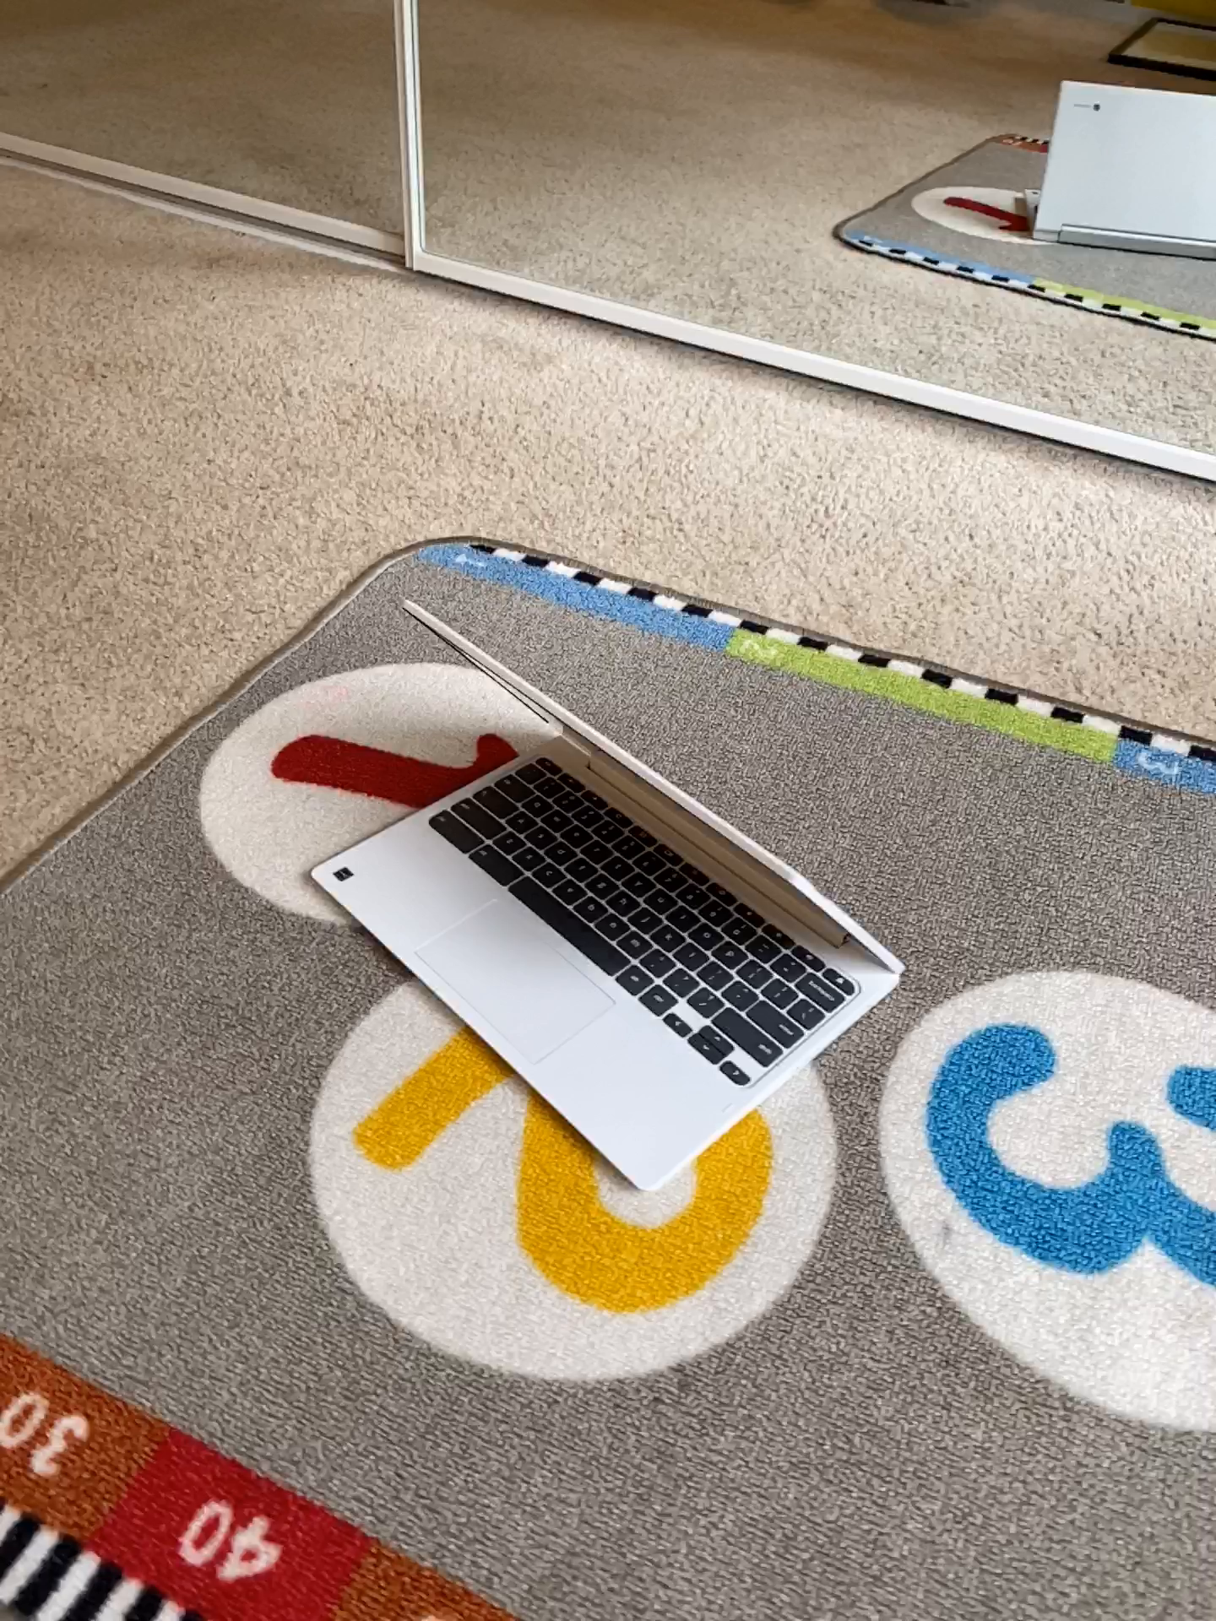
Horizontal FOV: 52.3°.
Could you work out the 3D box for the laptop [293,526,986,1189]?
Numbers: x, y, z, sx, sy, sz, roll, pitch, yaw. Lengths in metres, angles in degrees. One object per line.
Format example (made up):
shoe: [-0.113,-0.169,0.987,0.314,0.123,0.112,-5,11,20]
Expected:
laptop: [0.007,0.005,0.701,0.217,0.162,0.299,-31,53,-33]
